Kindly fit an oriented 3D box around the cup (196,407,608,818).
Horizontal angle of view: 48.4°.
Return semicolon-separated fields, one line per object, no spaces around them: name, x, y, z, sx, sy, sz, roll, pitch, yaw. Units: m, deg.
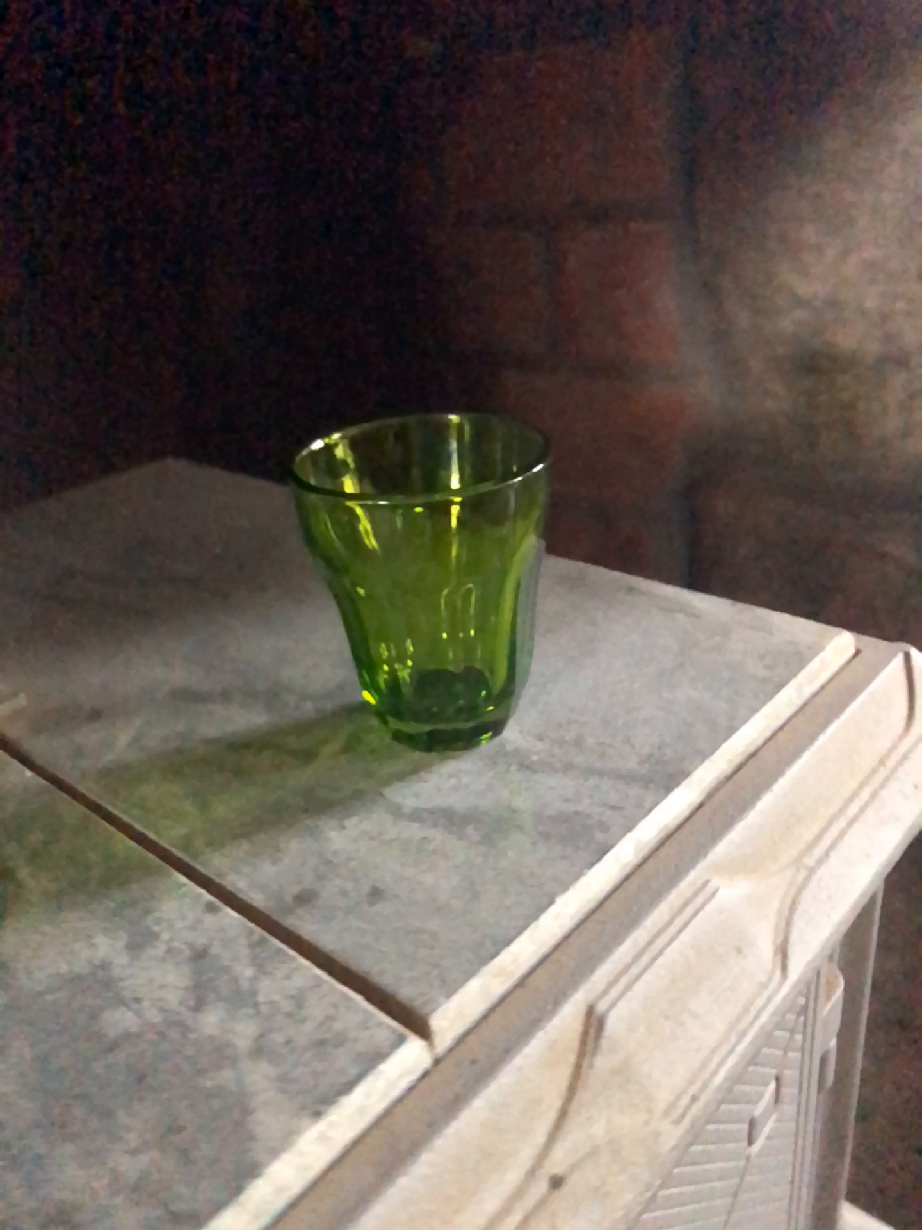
cup;-0.014;-0.007;0.303;0.080;0.080;0.080;-4;26;2
